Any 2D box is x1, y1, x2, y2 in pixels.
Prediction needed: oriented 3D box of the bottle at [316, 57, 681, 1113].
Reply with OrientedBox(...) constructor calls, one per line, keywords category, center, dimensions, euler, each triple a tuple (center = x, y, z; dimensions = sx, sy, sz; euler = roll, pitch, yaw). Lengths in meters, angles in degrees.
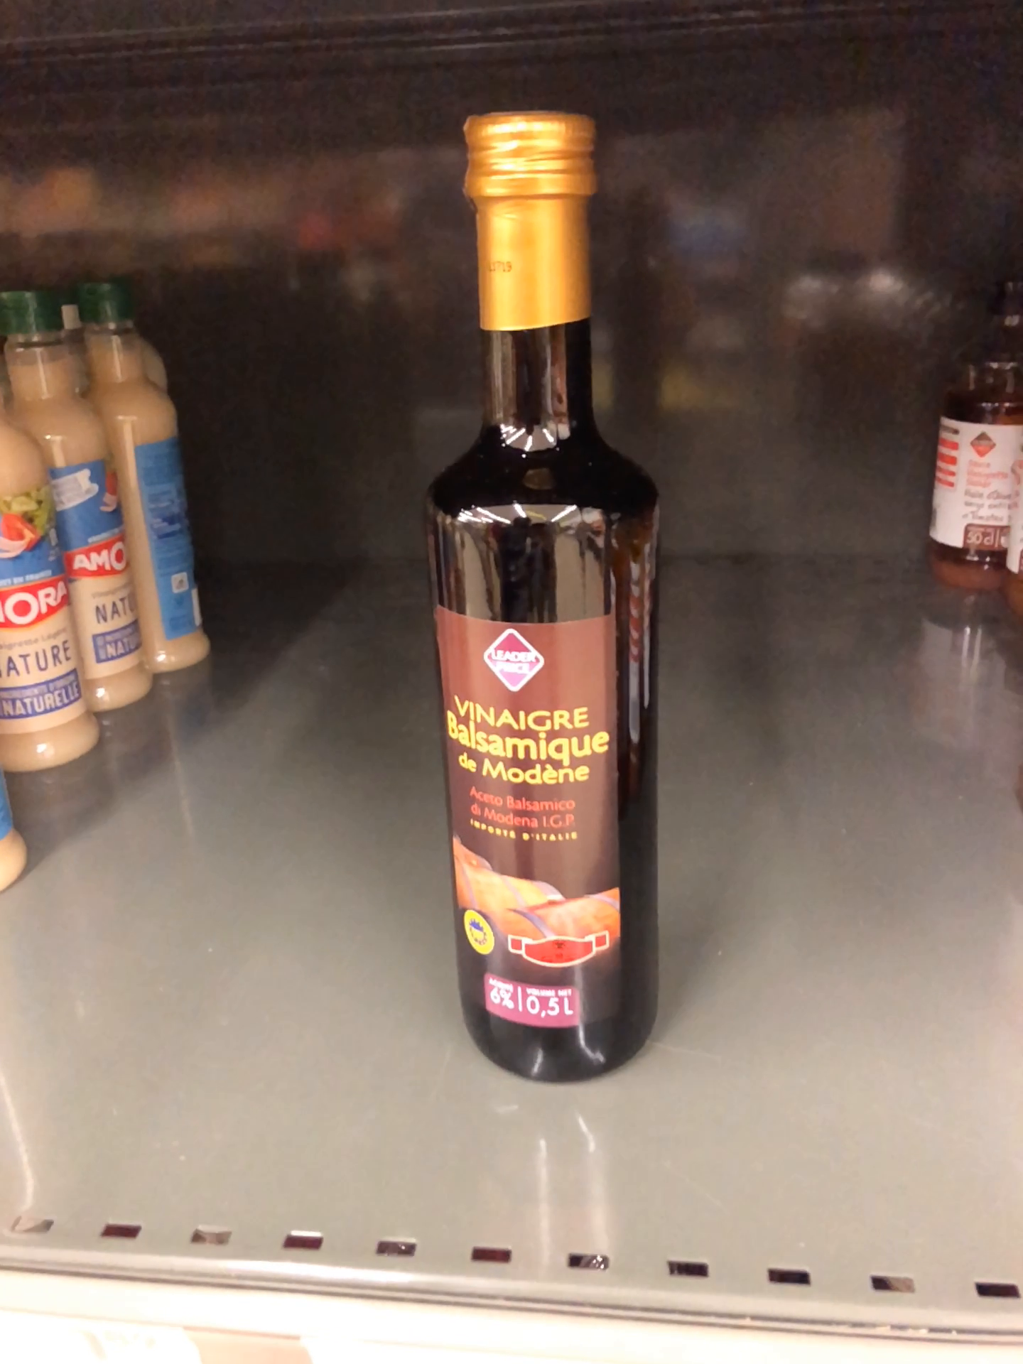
OrientedBox(category="bottle", center=(0.006, -0.016, 0.316), dimensions=(0.070, 0.269, 0.070), euler=(-2, 22, 1))
